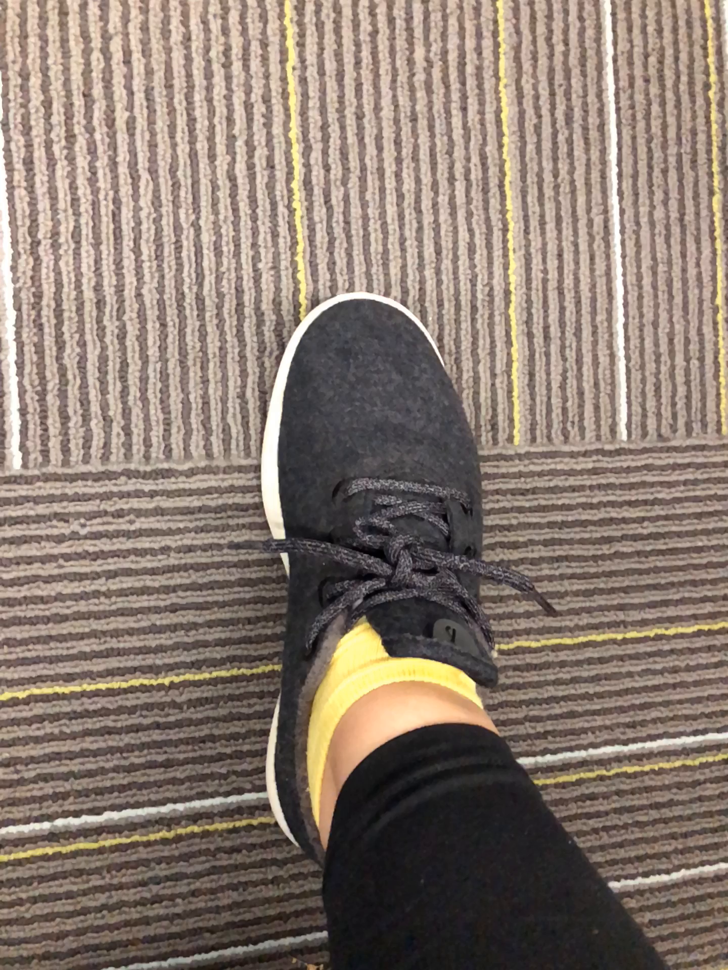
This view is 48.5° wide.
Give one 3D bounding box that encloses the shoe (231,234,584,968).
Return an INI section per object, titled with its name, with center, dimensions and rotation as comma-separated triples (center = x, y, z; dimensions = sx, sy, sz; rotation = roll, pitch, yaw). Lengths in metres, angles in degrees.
[shoe]
center = 0.012, 0.043, 0.338
dimensions = 0.120, 0.080, 0.260
rotation = 2, 90, -13
